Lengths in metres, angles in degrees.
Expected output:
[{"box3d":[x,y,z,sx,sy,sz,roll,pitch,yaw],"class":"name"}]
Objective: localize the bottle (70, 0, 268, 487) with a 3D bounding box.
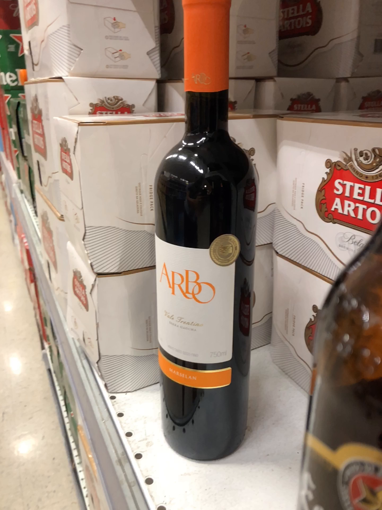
[{"box3d":[-0.003,-0.003,0.279,0.080,0.308,0.070,9,24,26],"class":"bottle"}]
